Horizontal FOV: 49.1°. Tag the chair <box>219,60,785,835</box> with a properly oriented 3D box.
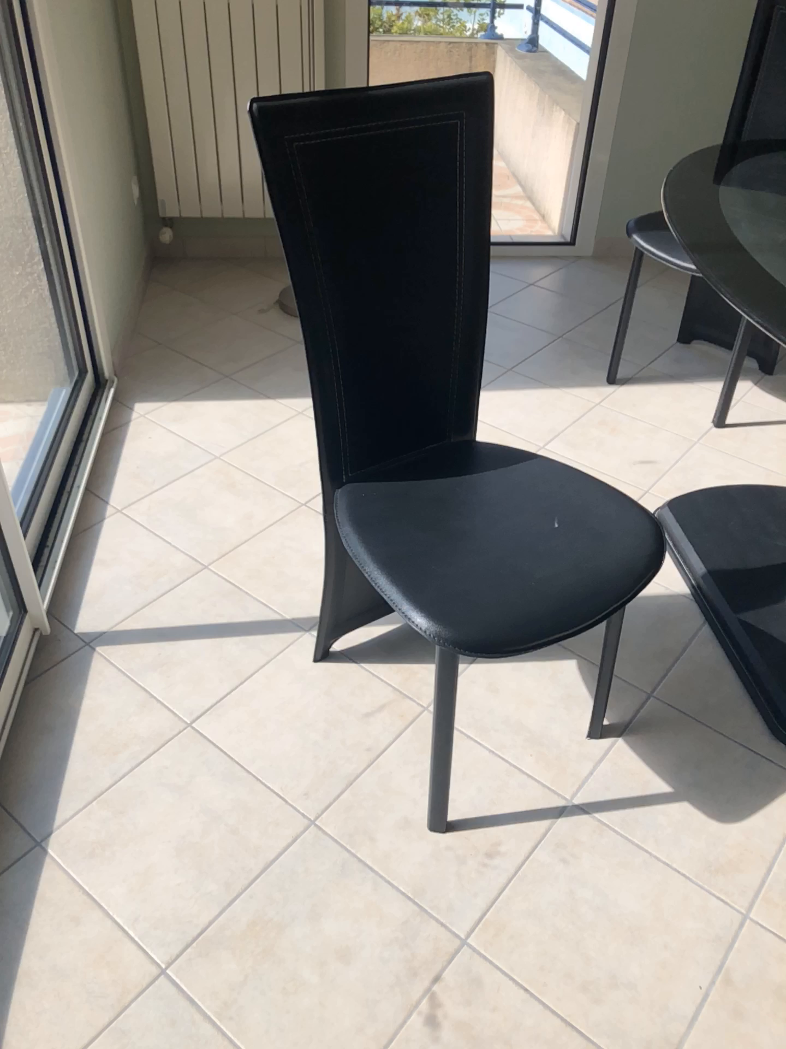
[{"bbox_3d":[0.113,-0.114,1.241,0.452,0.895,0.501,-22,42,-28],"label":"chair"}]
